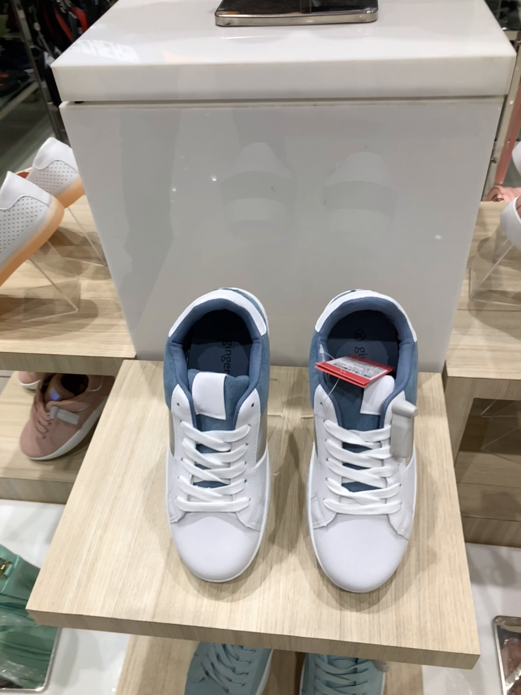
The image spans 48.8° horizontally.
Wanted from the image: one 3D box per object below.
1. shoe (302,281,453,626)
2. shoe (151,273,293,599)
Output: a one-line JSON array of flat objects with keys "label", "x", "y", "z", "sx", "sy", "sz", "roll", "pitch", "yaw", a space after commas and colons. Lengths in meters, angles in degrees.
[{"label": "shoe", "x": 0.094, "y": 0.079, "z": 0.484, "sx": 0.100, "sy": 0.260, "sz": 0.090, "roll": 3, "pitch": 4, "yaw": 8}, {"label": "shoe", "x": -0.030, "y": 0.069, "z": 0.509, "sx": 0.100, "sy": 0.260, "sz": 0.090, "roll": 3, "pitch": 4, "yaw": 8}]
